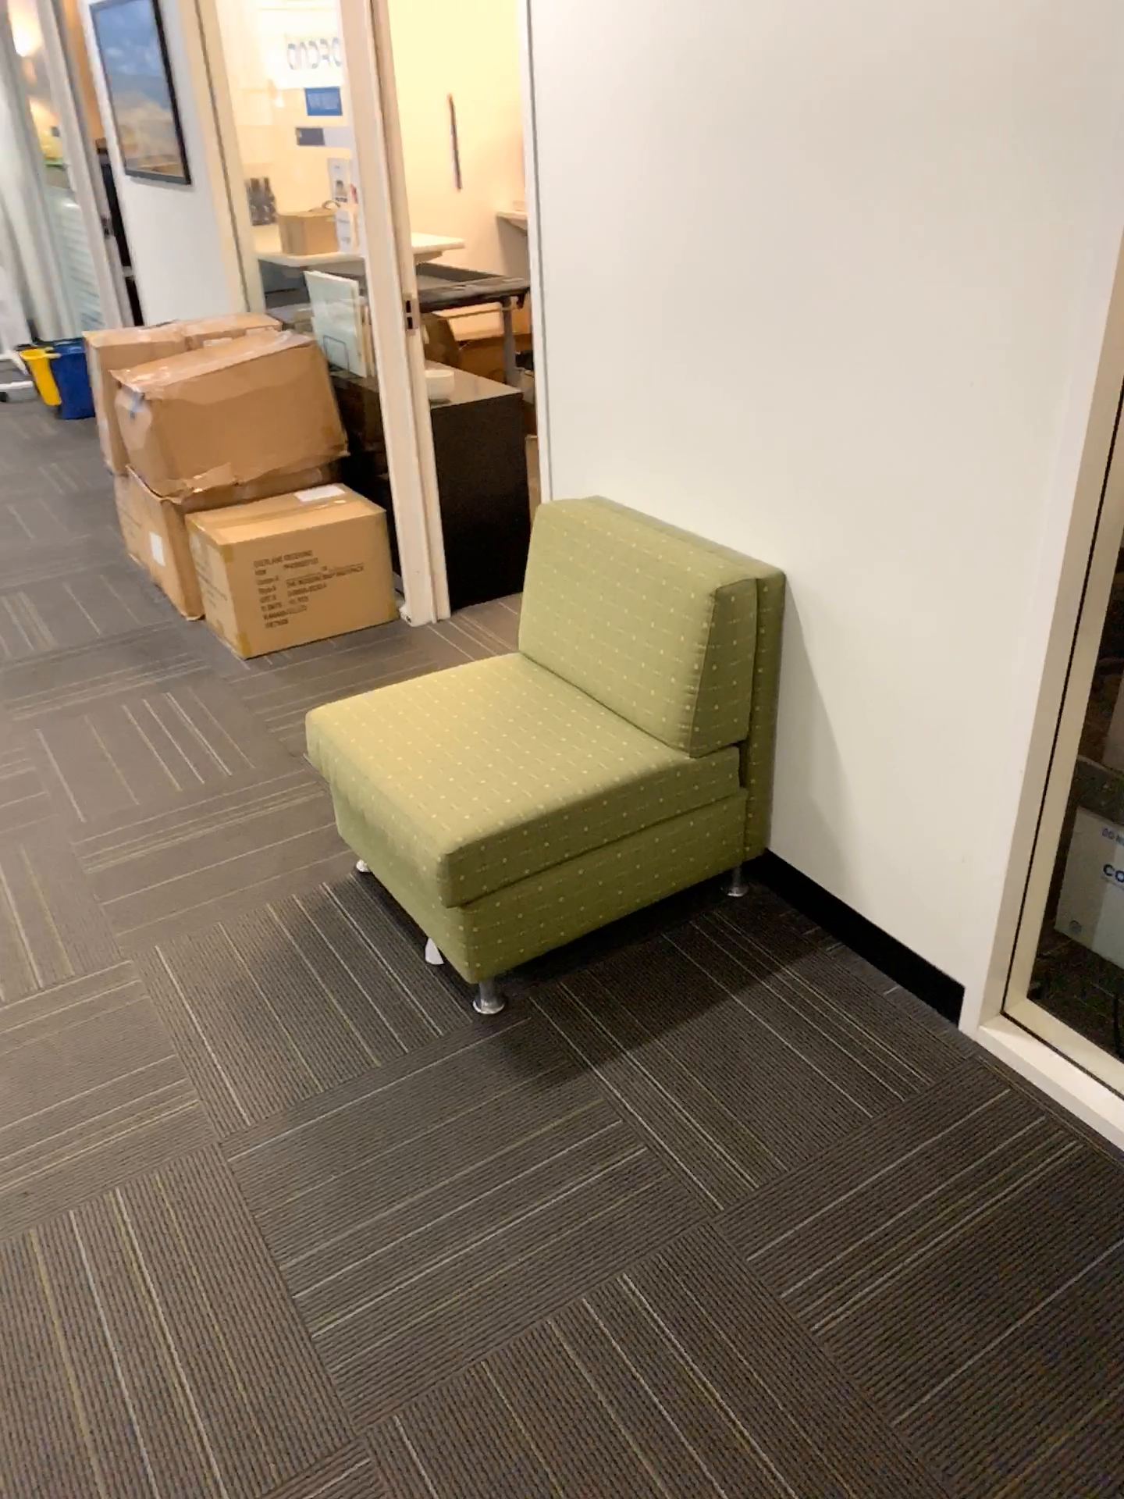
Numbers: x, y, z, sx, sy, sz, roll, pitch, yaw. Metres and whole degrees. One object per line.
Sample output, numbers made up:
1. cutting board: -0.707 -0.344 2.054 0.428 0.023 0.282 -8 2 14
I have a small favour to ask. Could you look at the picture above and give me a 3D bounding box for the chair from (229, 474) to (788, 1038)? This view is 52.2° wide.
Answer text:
1. chair: -0.108 -0.055 2.304 0.780 0.686 0.734 -20 34 -26
